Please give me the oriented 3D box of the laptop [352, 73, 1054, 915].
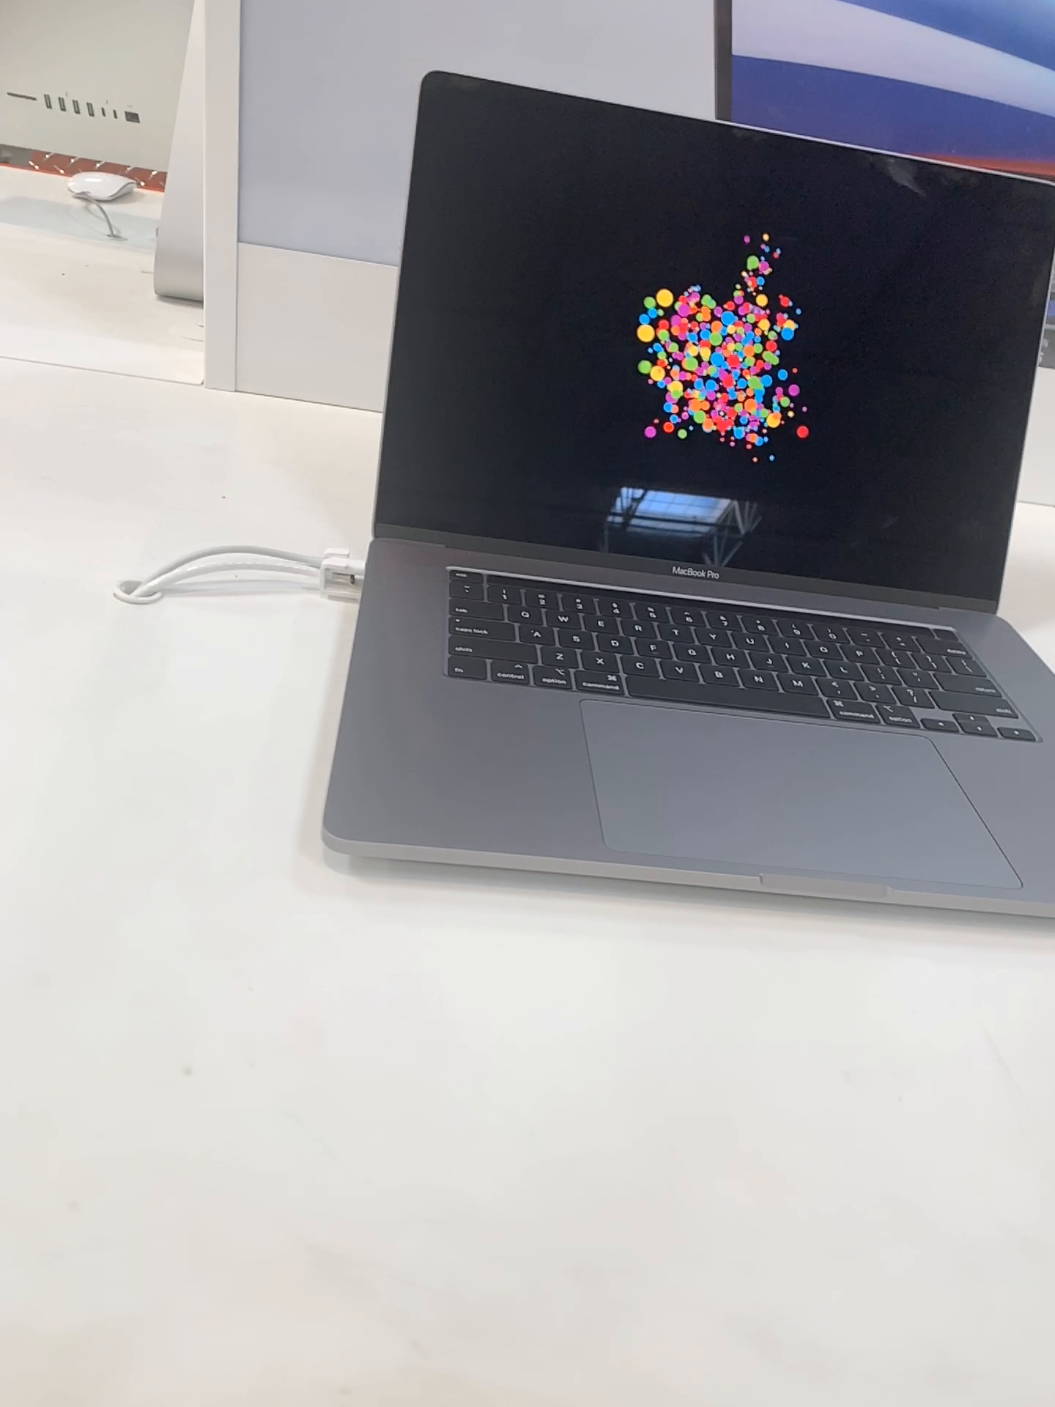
[{"bbox_3d":[0.118,-0.117,0.466,0.341,0.203,0.347,6,32,-8],"label":"laptop"}]
